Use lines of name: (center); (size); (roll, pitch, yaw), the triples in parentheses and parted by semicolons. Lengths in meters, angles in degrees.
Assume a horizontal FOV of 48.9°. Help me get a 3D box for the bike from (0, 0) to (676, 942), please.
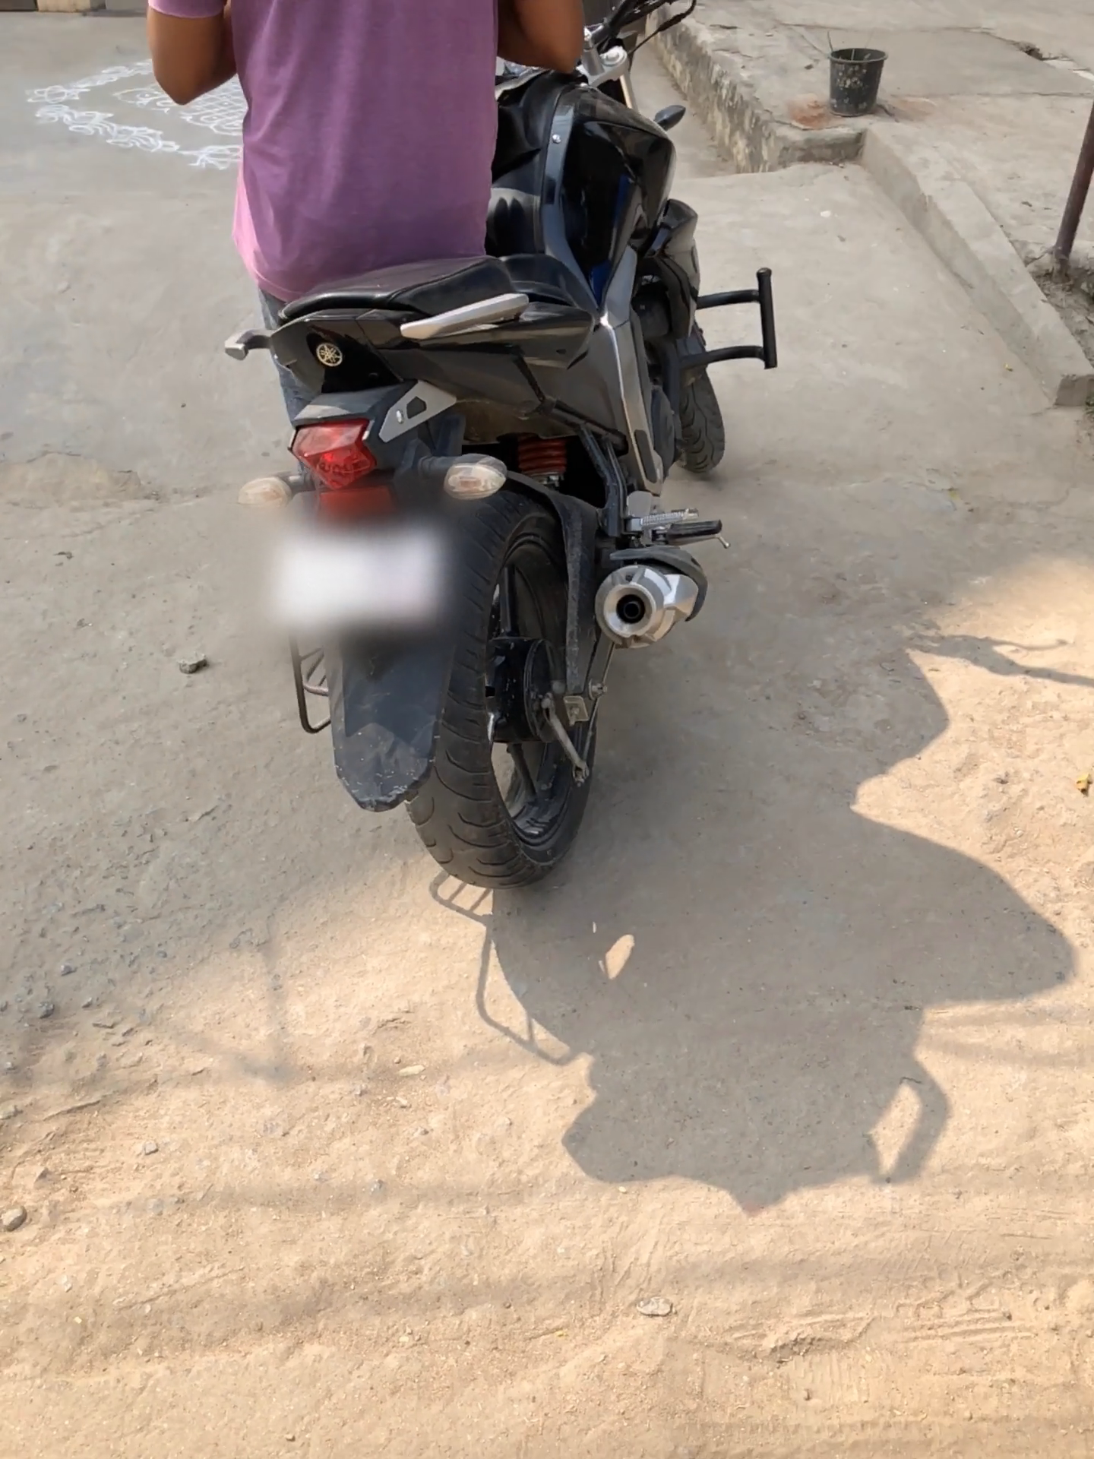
bike: (-0.192, -0.706, 1.944); (0.683, 0.959, 1.698); (5, 43, 4)
